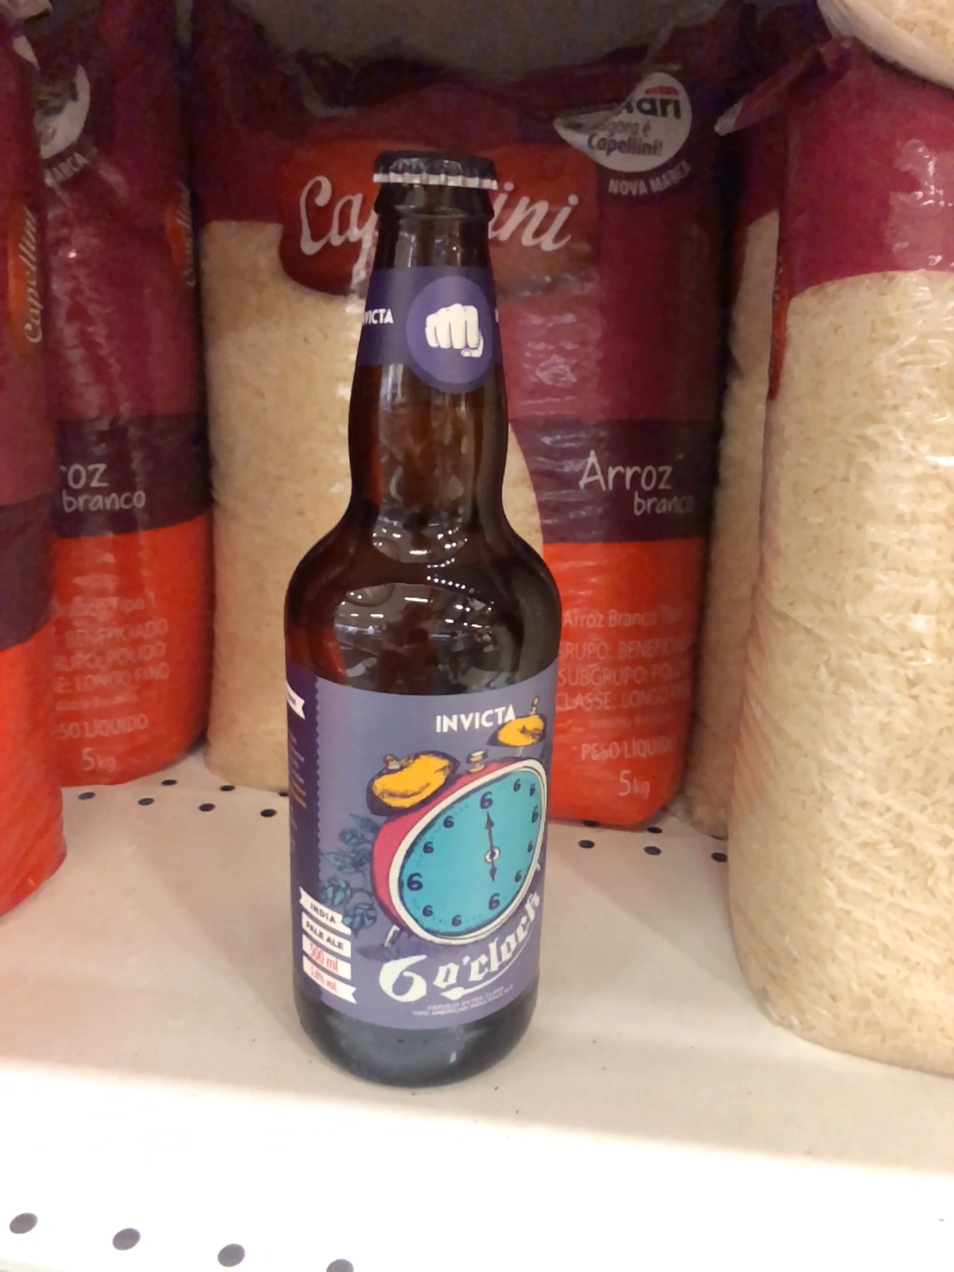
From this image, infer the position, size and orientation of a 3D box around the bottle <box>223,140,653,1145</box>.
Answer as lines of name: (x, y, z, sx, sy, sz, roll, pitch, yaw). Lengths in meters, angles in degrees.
bottle: (-0.016, 0.004, 0.269, 0.070, 0.228, 0.070, 2, 21, -1)
